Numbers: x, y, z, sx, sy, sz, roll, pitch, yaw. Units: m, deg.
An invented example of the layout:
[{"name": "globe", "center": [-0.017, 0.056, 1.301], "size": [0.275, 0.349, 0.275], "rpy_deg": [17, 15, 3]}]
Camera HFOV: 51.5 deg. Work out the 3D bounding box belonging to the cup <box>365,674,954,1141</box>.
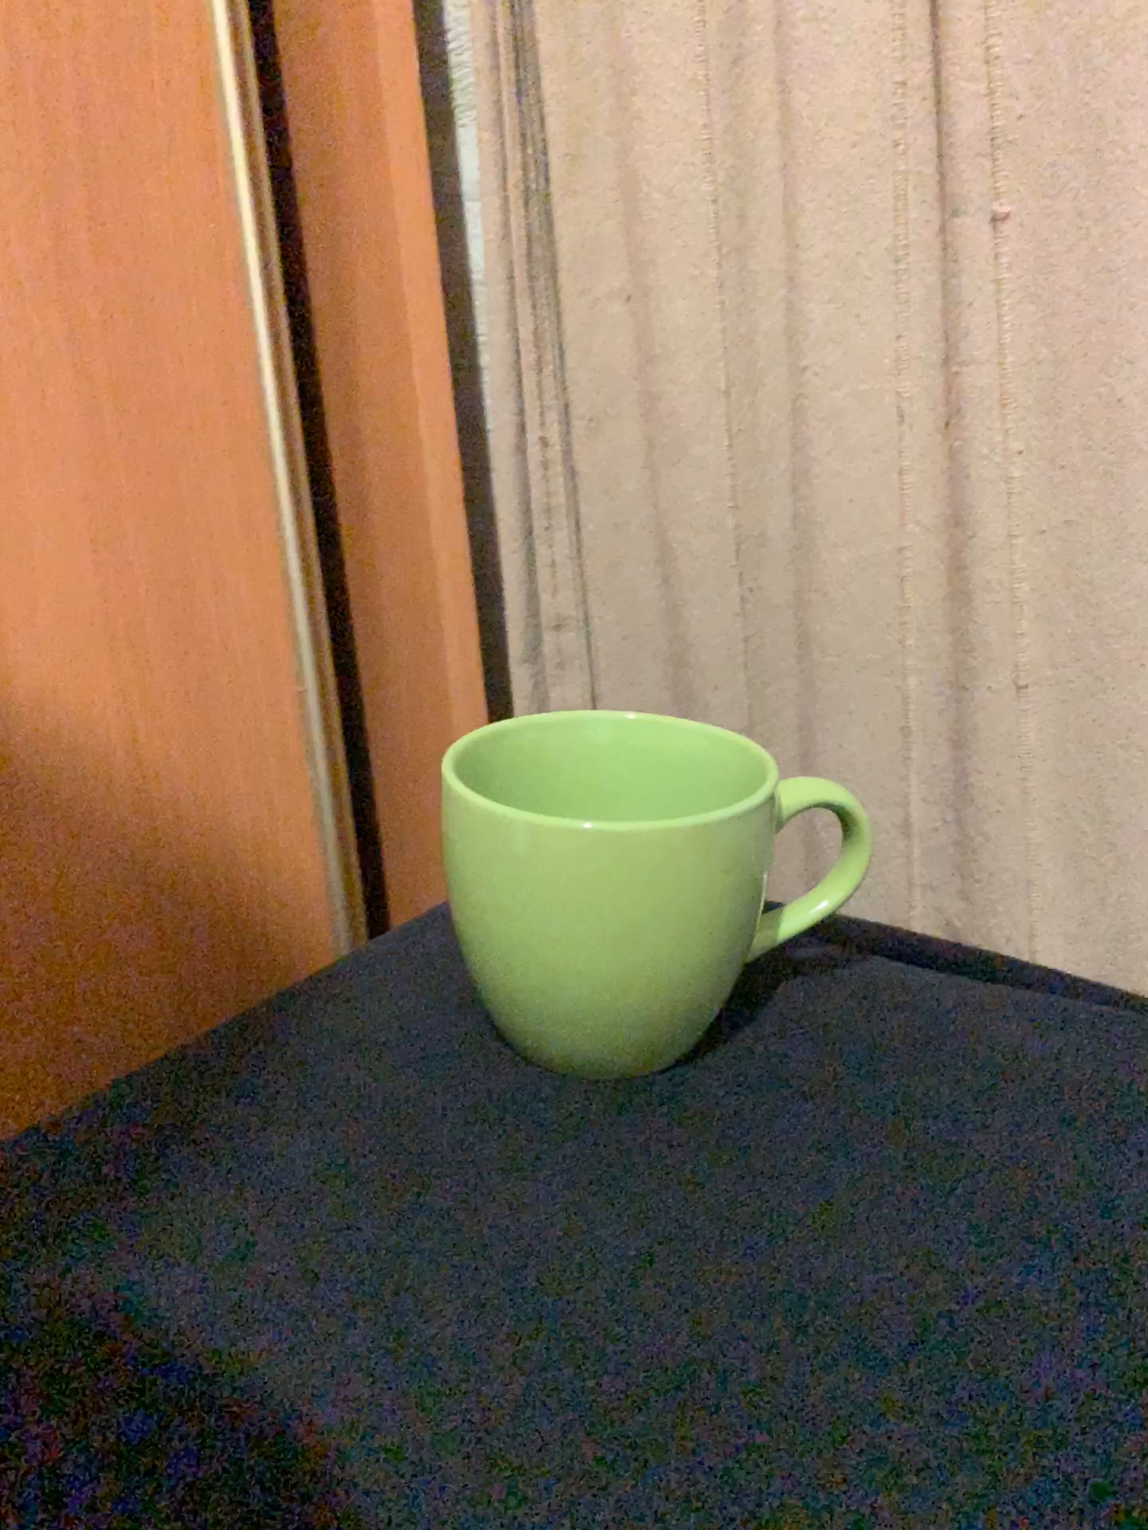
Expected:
[{"name": "cup", "center": [0.016, 0.029, 0.310], "size": [0.124, 0.069, 0.090], "rpy_deg": [-7, 22, -14]}]
